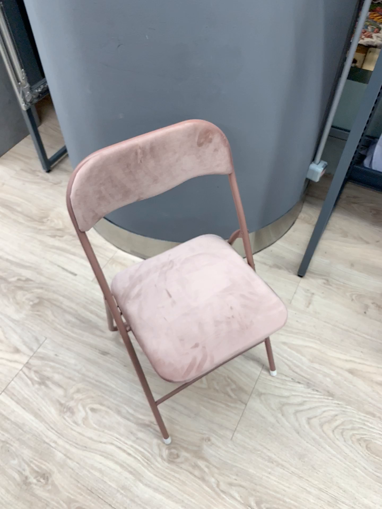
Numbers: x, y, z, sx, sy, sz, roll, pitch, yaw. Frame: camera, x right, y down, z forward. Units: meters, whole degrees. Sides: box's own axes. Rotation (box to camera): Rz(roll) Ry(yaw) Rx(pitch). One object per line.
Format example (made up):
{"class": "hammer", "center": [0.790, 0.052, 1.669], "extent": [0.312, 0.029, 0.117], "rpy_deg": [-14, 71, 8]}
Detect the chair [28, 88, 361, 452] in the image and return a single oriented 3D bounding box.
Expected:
{"class": "chair", "center": [-0.015, 0.092, 1.077], "extent": [0.460, 0.797, 0.481], "rpy_deg": [-27, 57, -20]}
